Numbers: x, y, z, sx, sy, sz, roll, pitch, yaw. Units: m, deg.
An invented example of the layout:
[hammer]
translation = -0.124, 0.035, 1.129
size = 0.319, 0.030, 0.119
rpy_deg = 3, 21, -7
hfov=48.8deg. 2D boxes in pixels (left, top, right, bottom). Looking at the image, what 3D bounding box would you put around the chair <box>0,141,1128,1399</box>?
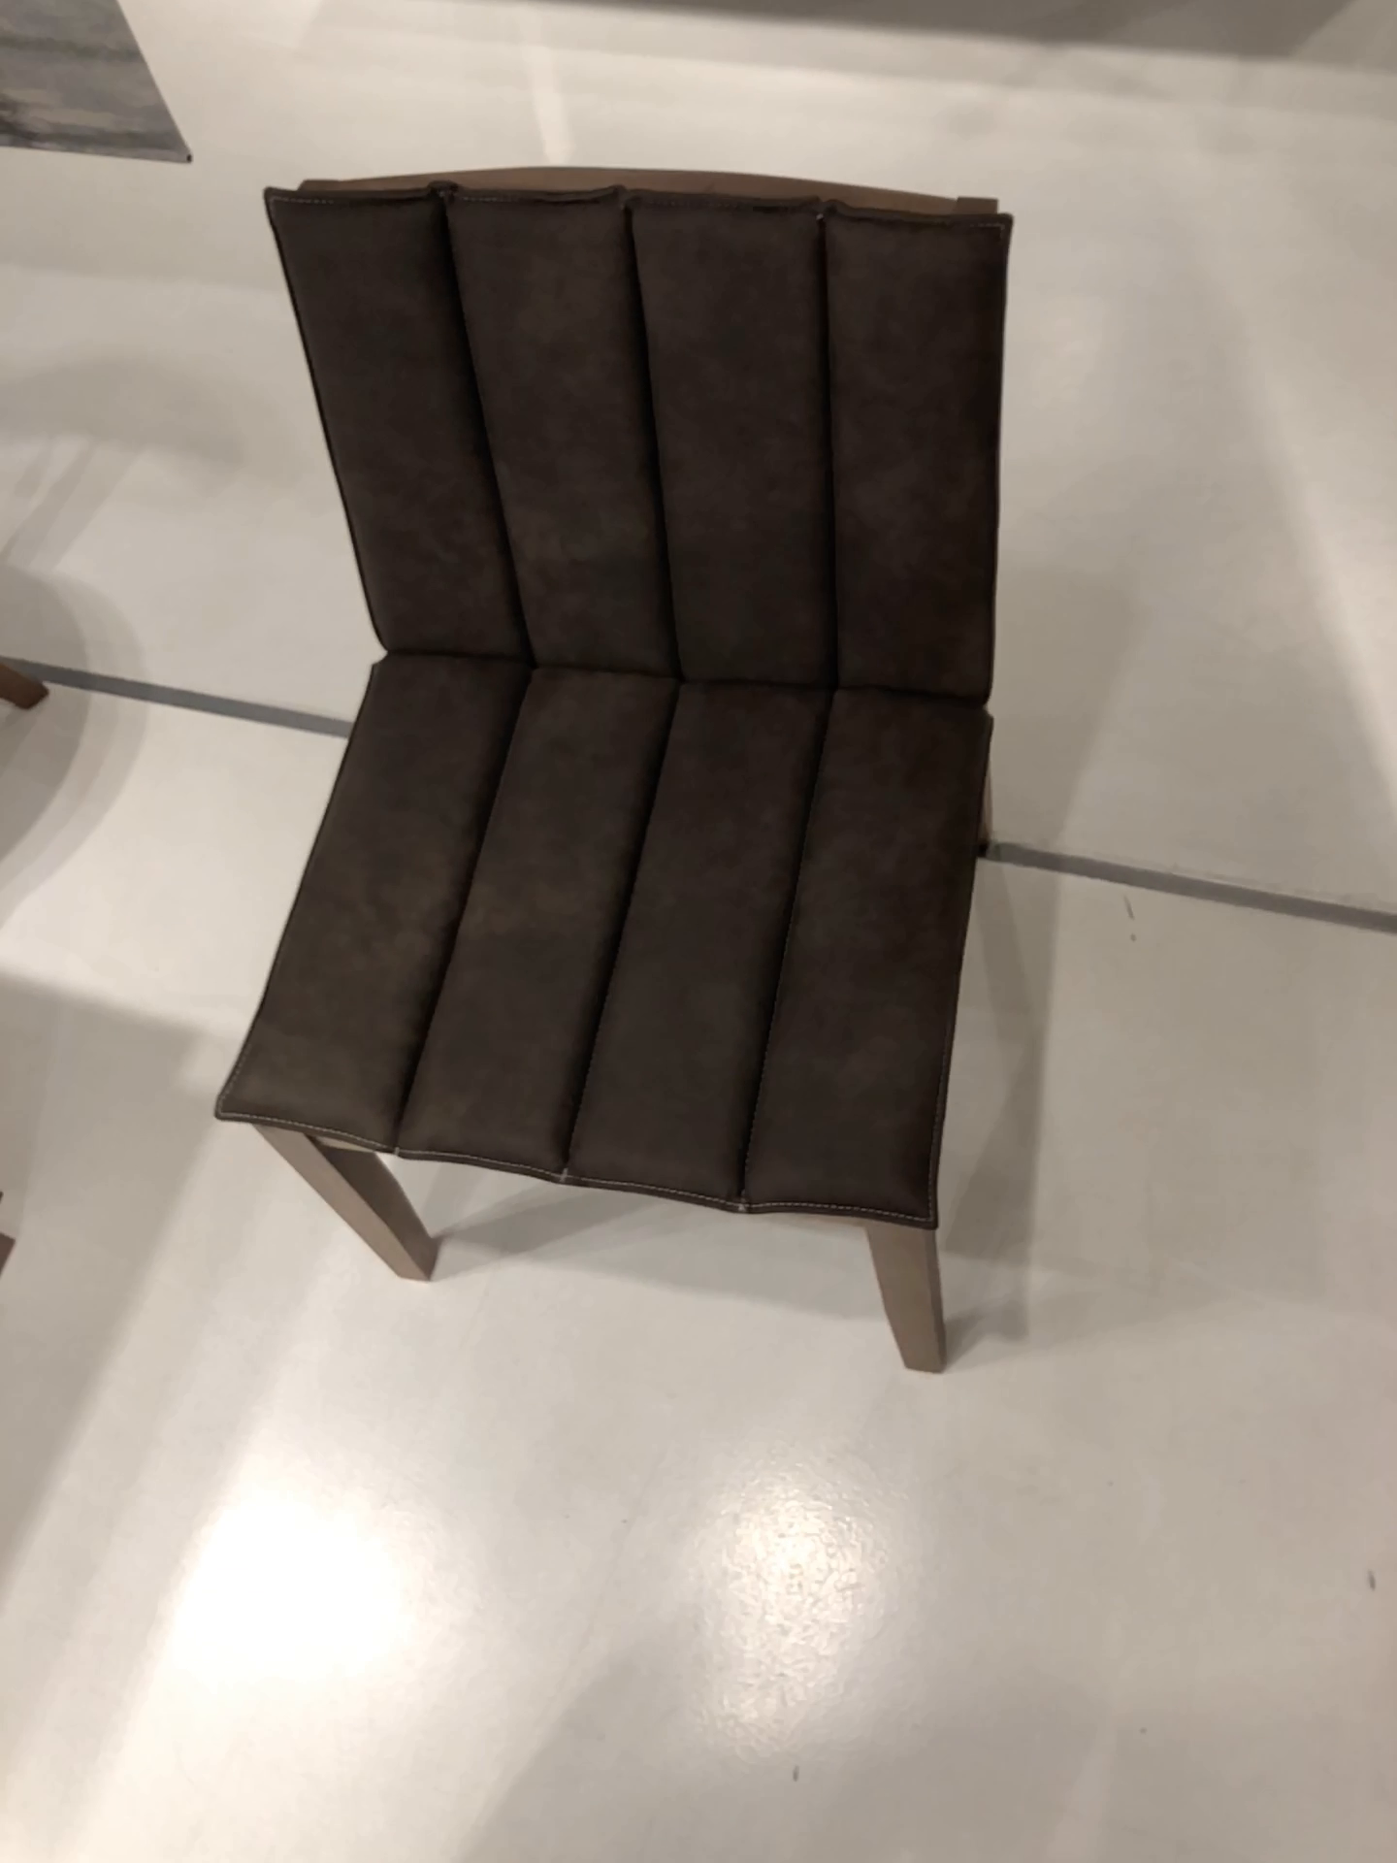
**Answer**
[chair]
translation = -0.024, -0.049, 1.157
size = 0.541, 0.777, 0.572
rpy_deg = 7, 66, 12
